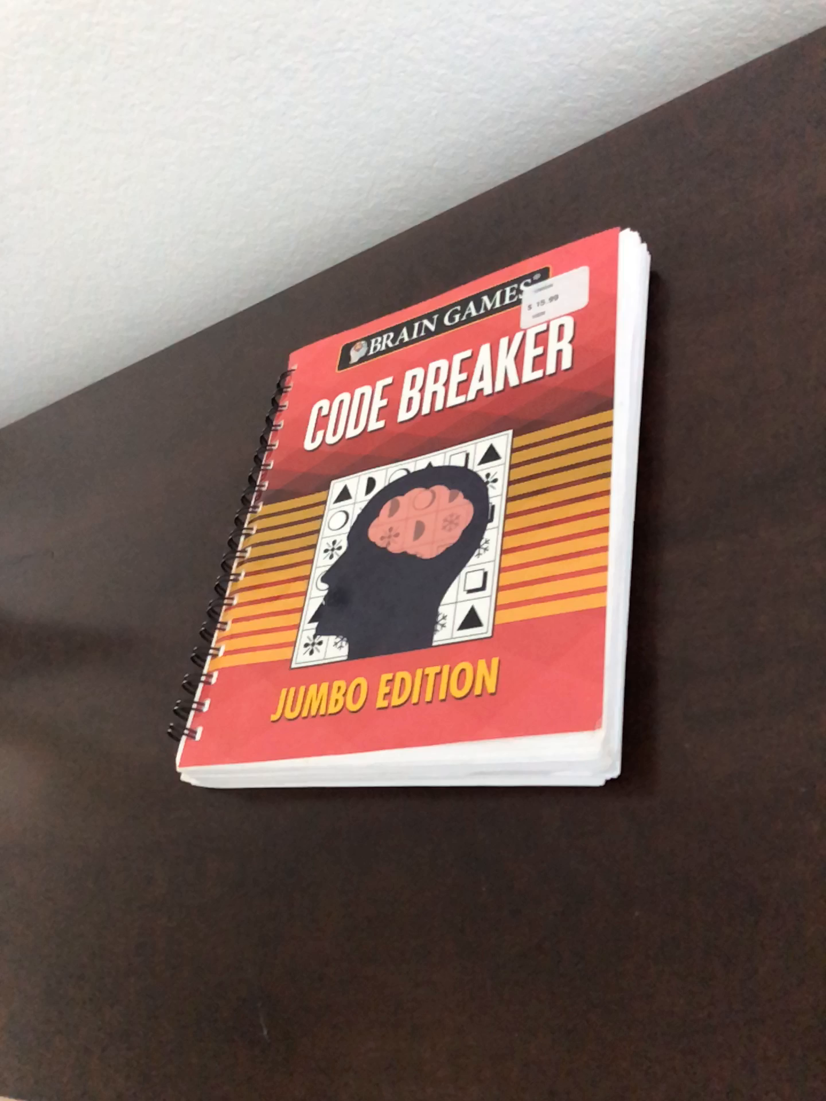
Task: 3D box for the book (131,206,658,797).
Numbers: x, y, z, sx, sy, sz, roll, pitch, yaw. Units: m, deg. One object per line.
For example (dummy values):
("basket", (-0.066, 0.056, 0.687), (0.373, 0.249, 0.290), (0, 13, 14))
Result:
("book", (-0.005, -0.016, 0.374), (0.203, 0.030, 0.224), (-12, 54, 34))
